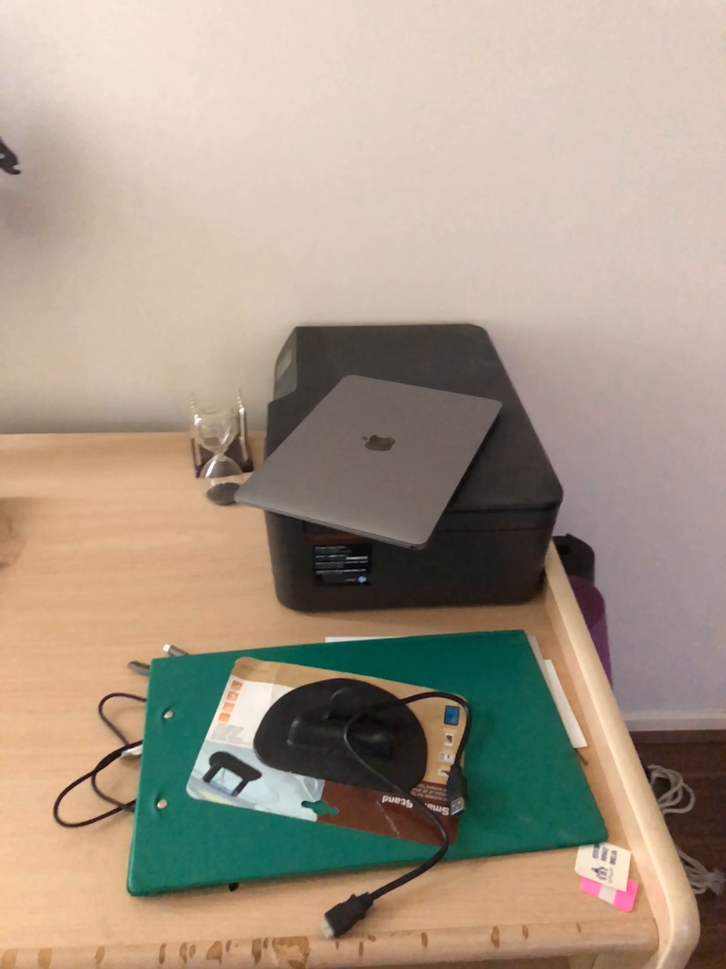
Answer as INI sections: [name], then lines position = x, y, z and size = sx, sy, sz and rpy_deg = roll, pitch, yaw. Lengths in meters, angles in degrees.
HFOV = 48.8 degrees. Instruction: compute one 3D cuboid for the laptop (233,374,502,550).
[laptop]
position = 0.016, -0.037, 0.824
size = 0.188, 0.007, 0.266
rpy_deg = 13, 38, 20
